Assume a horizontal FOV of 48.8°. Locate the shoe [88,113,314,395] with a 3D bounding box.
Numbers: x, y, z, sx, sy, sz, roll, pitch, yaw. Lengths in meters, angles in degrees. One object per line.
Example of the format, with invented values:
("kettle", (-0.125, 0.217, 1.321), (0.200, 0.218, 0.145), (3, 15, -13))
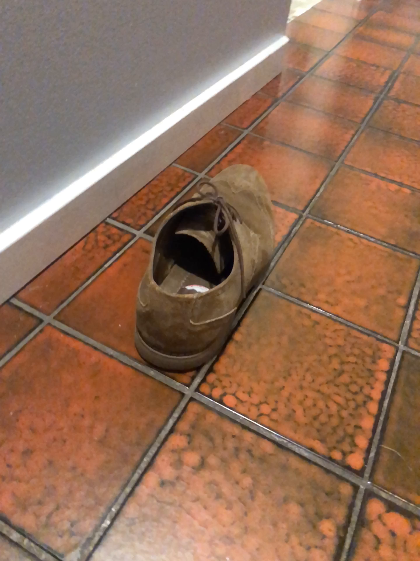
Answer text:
("shoe", (0.008, -0.051, 0.479), (0.120, 0.100, 0.301), (19, 45, 9))
